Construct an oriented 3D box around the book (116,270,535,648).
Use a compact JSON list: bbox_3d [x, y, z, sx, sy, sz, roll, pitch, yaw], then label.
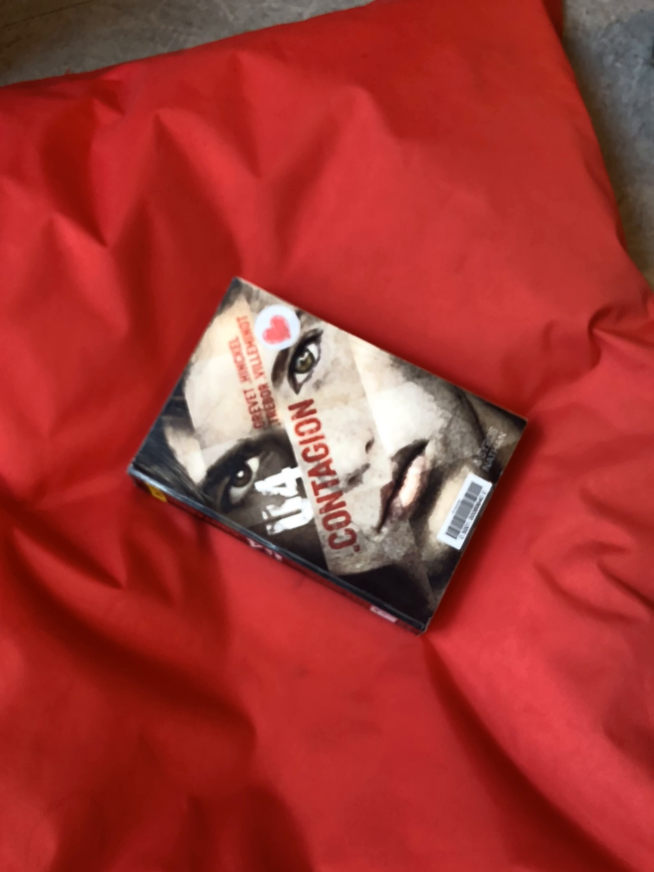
[{"bbox_3d":[-0.001,0.011,0.496,0.225,0.038,0.166,27,83,9],"label":"book"}]
